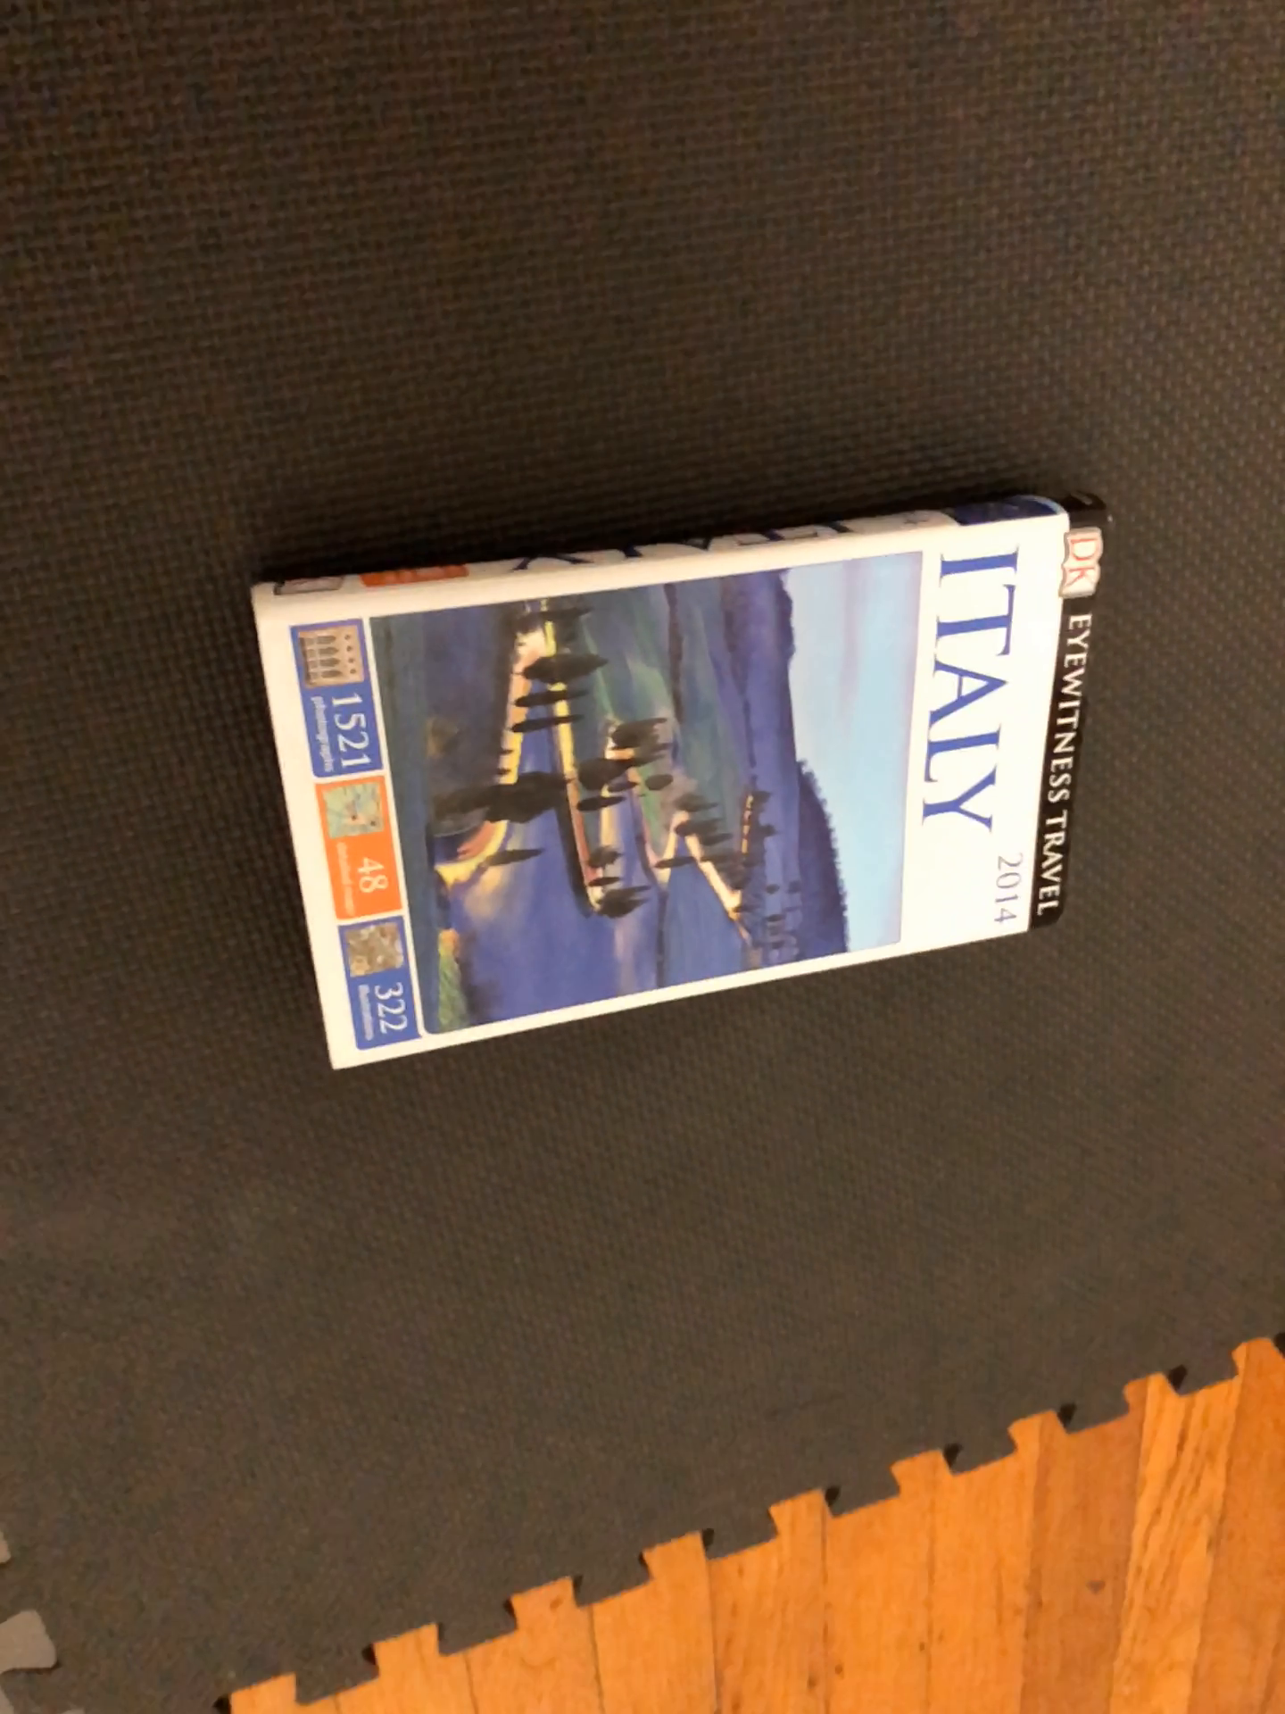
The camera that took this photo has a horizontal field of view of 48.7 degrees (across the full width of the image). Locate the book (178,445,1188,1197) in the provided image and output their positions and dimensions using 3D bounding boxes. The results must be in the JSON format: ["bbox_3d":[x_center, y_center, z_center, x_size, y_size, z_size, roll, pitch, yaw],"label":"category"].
[{"bbox_3d":[0.019,-0.013,0.387,0.250,0.040,0.160,-11,117,-14],"label":"book"}]
